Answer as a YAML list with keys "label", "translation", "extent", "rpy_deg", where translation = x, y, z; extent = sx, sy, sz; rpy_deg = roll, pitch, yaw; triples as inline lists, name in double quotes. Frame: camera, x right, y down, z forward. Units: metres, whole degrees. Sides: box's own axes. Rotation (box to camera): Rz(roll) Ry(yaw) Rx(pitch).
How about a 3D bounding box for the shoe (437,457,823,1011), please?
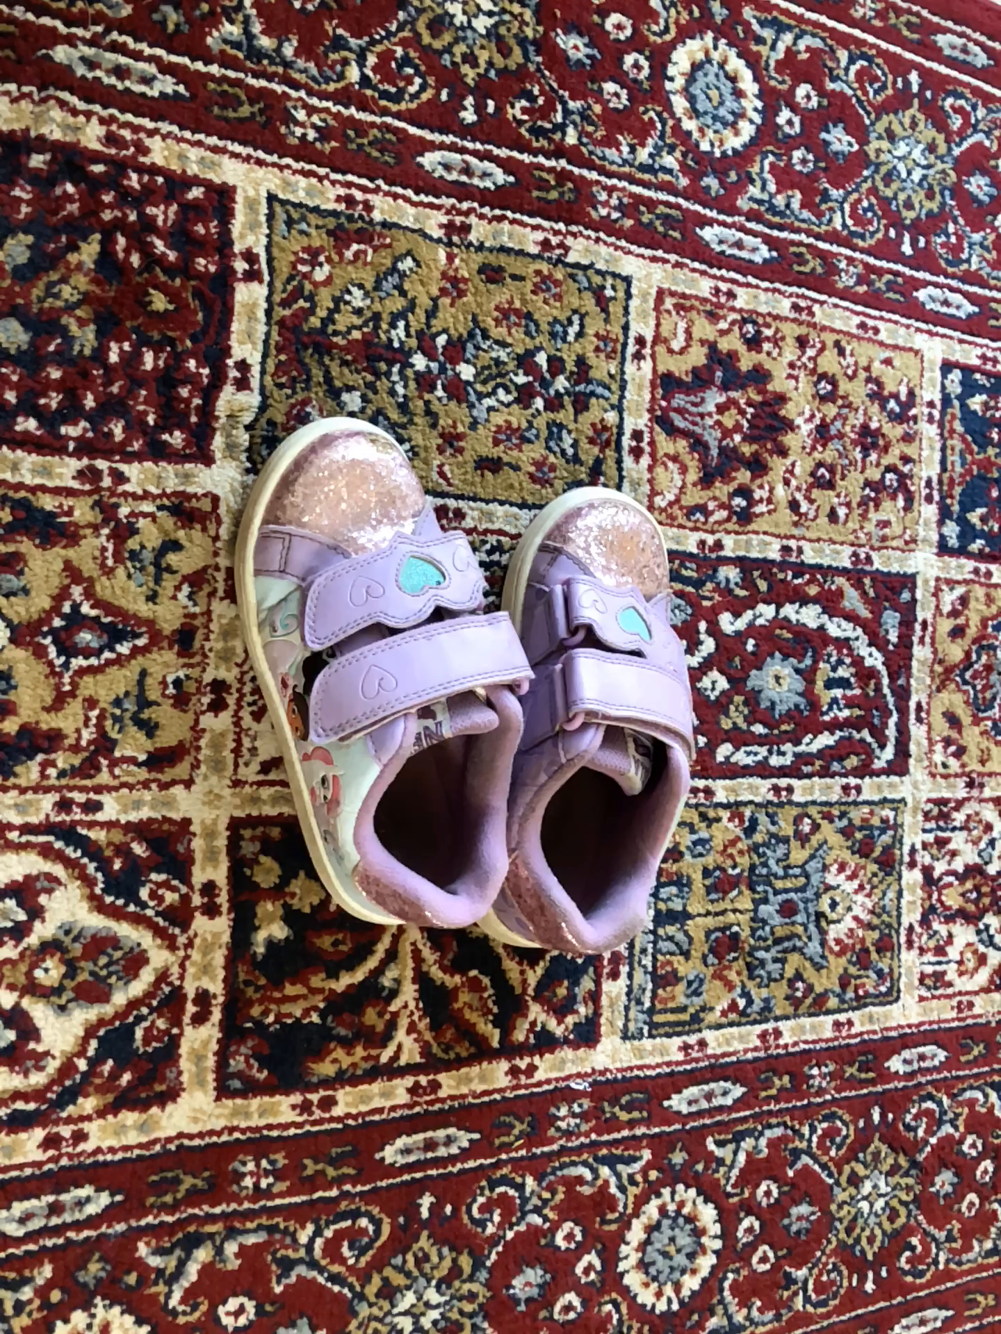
- label: "shoe"
  translation: [0.053, 0.029, 0.464]
  extent: [0.100, 0.090, 0.200]
  rpy_deg: [11, 85, -27]

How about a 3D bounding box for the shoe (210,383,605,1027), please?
- label: "shoe"
  translation: [-0.037, 0.010, 0.420]
  extent: [0.090, 0.090, 0.208]
  rpy_deg: [-11, 95, -27]
